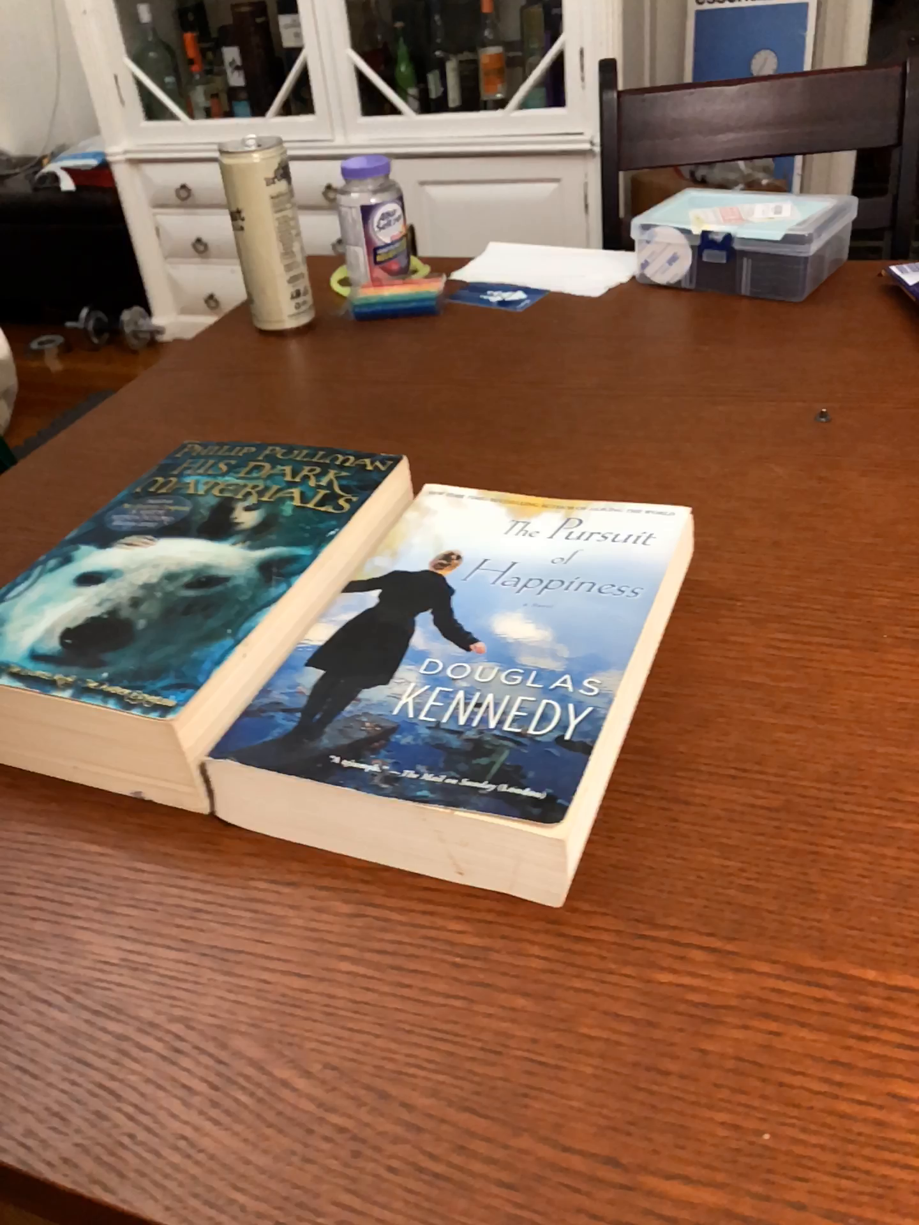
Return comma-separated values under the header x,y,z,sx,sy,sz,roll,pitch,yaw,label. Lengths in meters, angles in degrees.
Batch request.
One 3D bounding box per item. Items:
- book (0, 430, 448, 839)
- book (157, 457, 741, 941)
x,y,z,sx,sy,sz,roll,pitch,yaw,label
-0.138,-0.011,0.530,0.180,0.050,0.251,8,38,21,book
0.015,0.012,0.462,0.180,0.040,0.251,8,38,21,book
